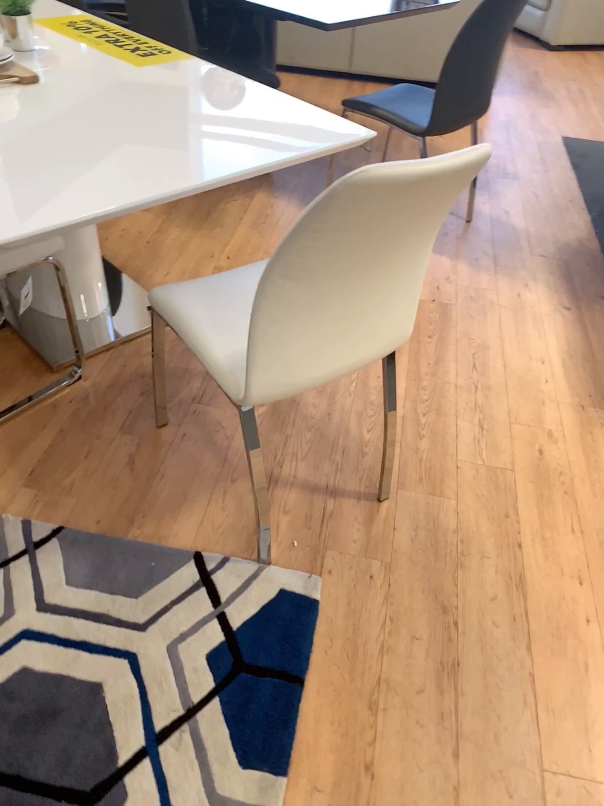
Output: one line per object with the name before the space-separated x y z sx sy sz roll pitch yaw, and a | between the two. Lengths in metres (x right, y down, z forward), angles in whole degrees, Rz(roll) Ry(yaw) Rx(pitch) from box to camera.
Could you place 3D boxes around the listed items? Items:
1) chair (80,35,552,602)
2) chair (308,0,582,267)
chair | -0.041 -0.187 1.301 0.492 0.881 0.674 -21 48 -25
chair | 0.491 -1.191 2.432 0.523 0.950 0.713 -32 54 -33
